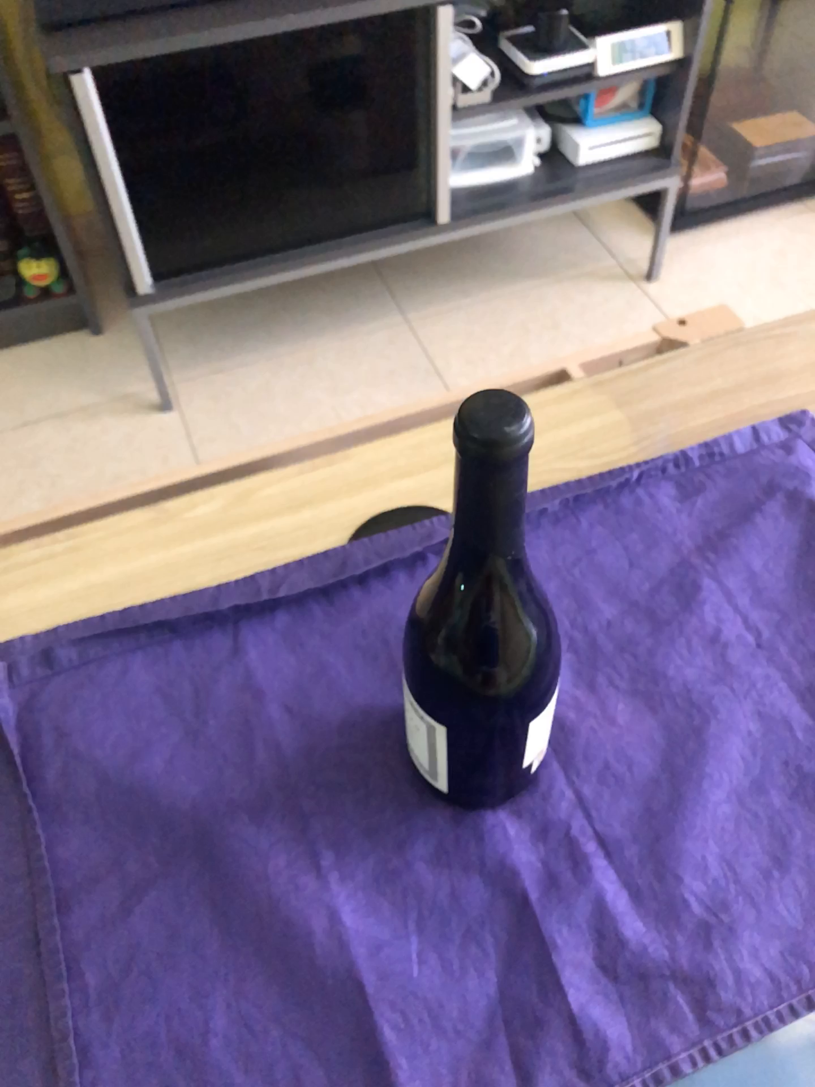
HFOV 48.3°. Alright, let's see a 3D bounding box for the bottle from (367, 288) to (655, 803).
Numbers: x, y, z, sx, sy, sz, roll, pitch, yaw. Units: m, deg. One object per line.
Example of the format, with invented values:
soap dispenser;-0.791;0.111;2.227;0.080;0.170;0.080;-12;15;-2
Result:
bottle;0.048;0.019;0.454;0.100;0.259;0.110;7;53;8
